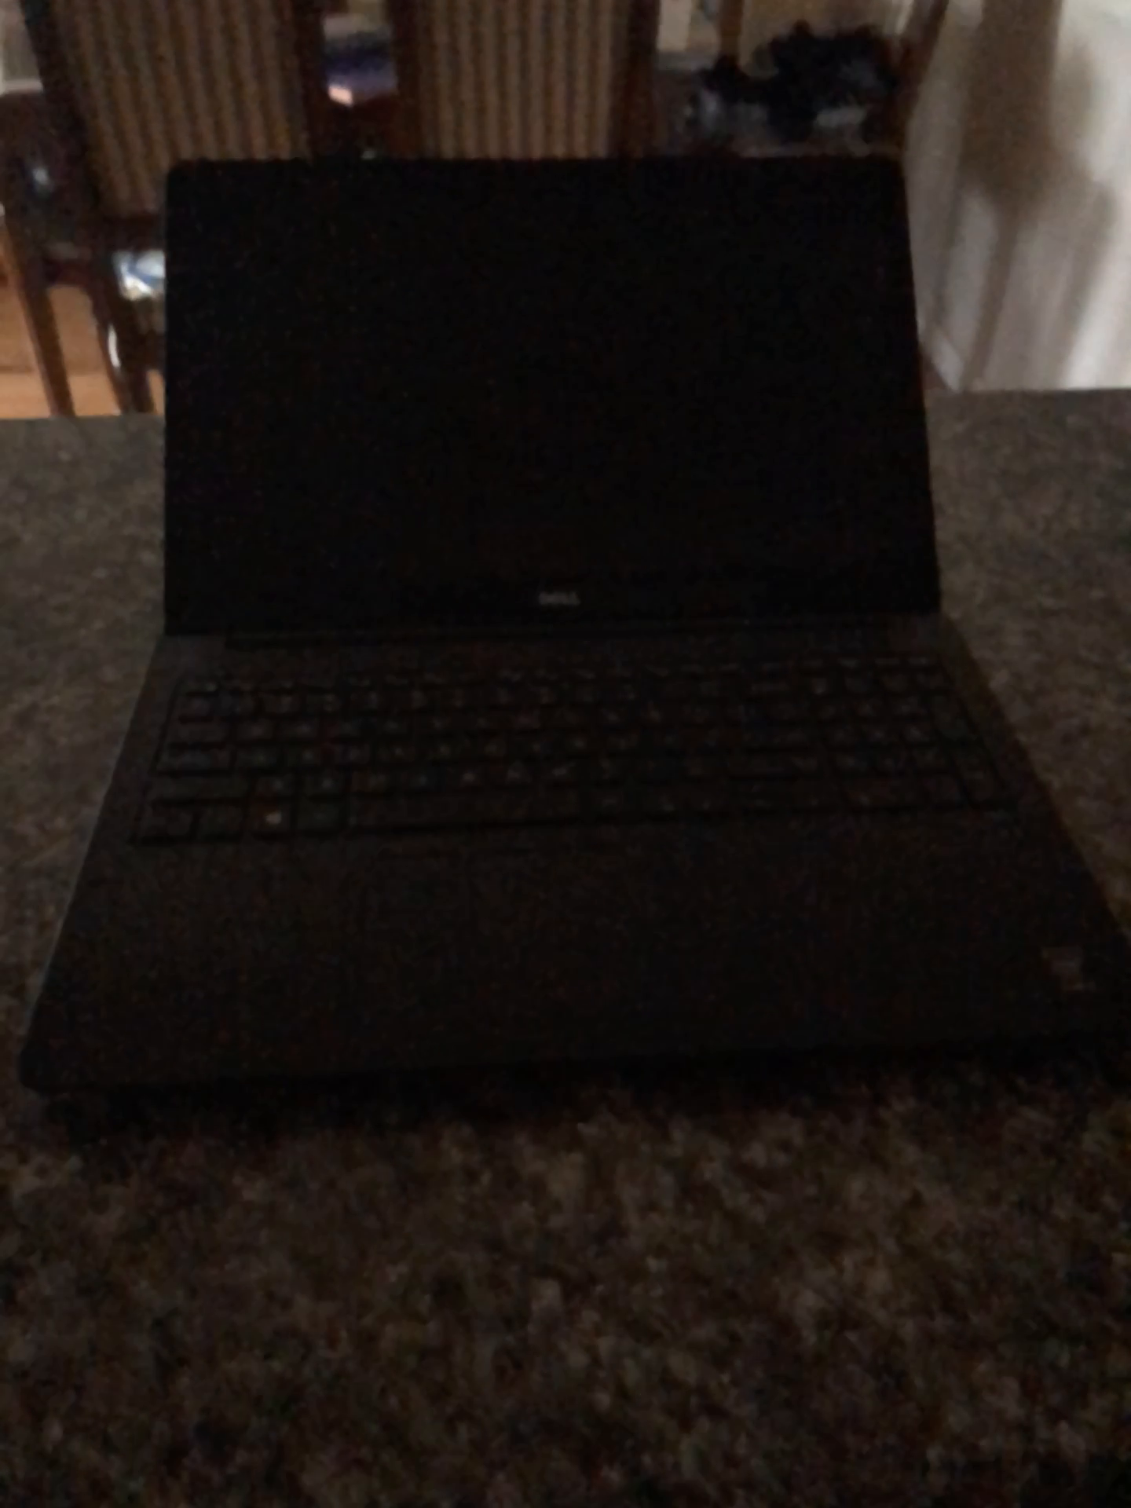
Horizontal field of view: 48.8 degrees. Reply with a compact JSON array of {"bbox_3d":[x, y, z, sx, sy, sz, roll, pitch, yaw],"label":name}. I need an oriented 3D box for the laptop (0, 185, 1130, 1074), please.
[{"bbox_3d":[0.003,-0.096,0.518,0.361,0.158,0.416,-2,39,-3],"label":"laptop"}]
